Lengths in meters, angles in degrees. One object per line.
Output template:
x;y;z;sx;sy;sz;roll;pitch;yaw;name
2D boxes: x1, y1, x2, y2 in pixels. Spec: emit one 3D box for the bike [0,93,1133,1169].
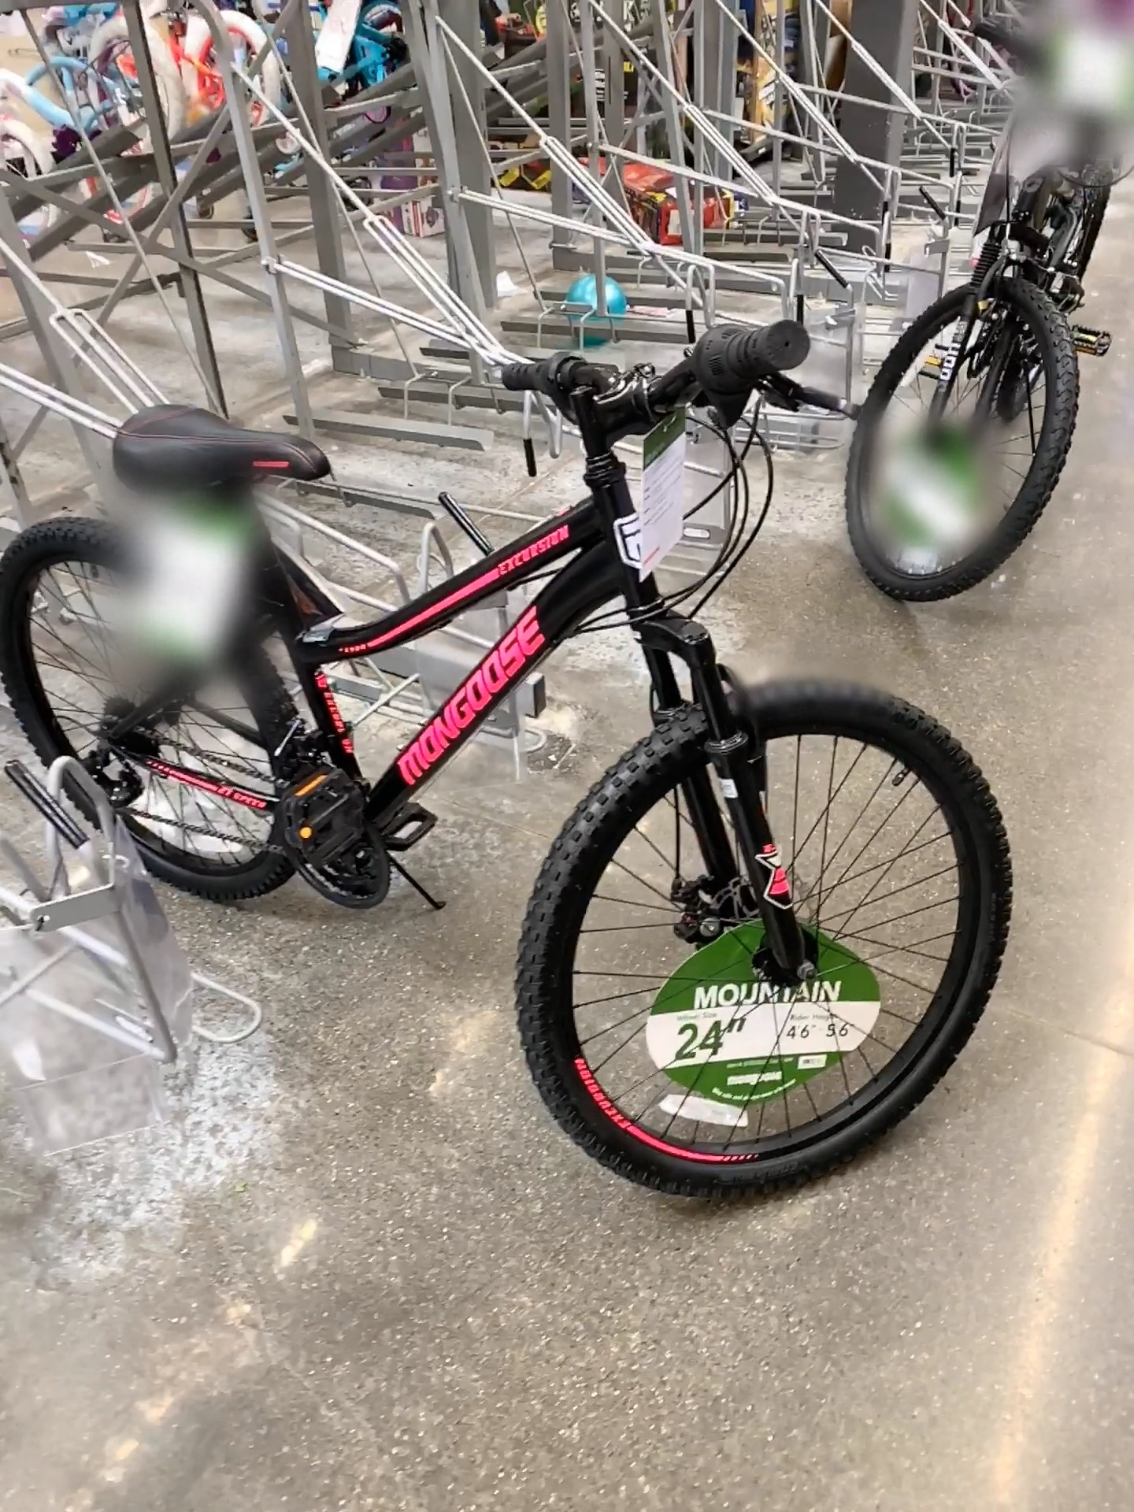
-0.190;-0.195;1.437;1.401;0.963;0.642;9;37;18;bike
